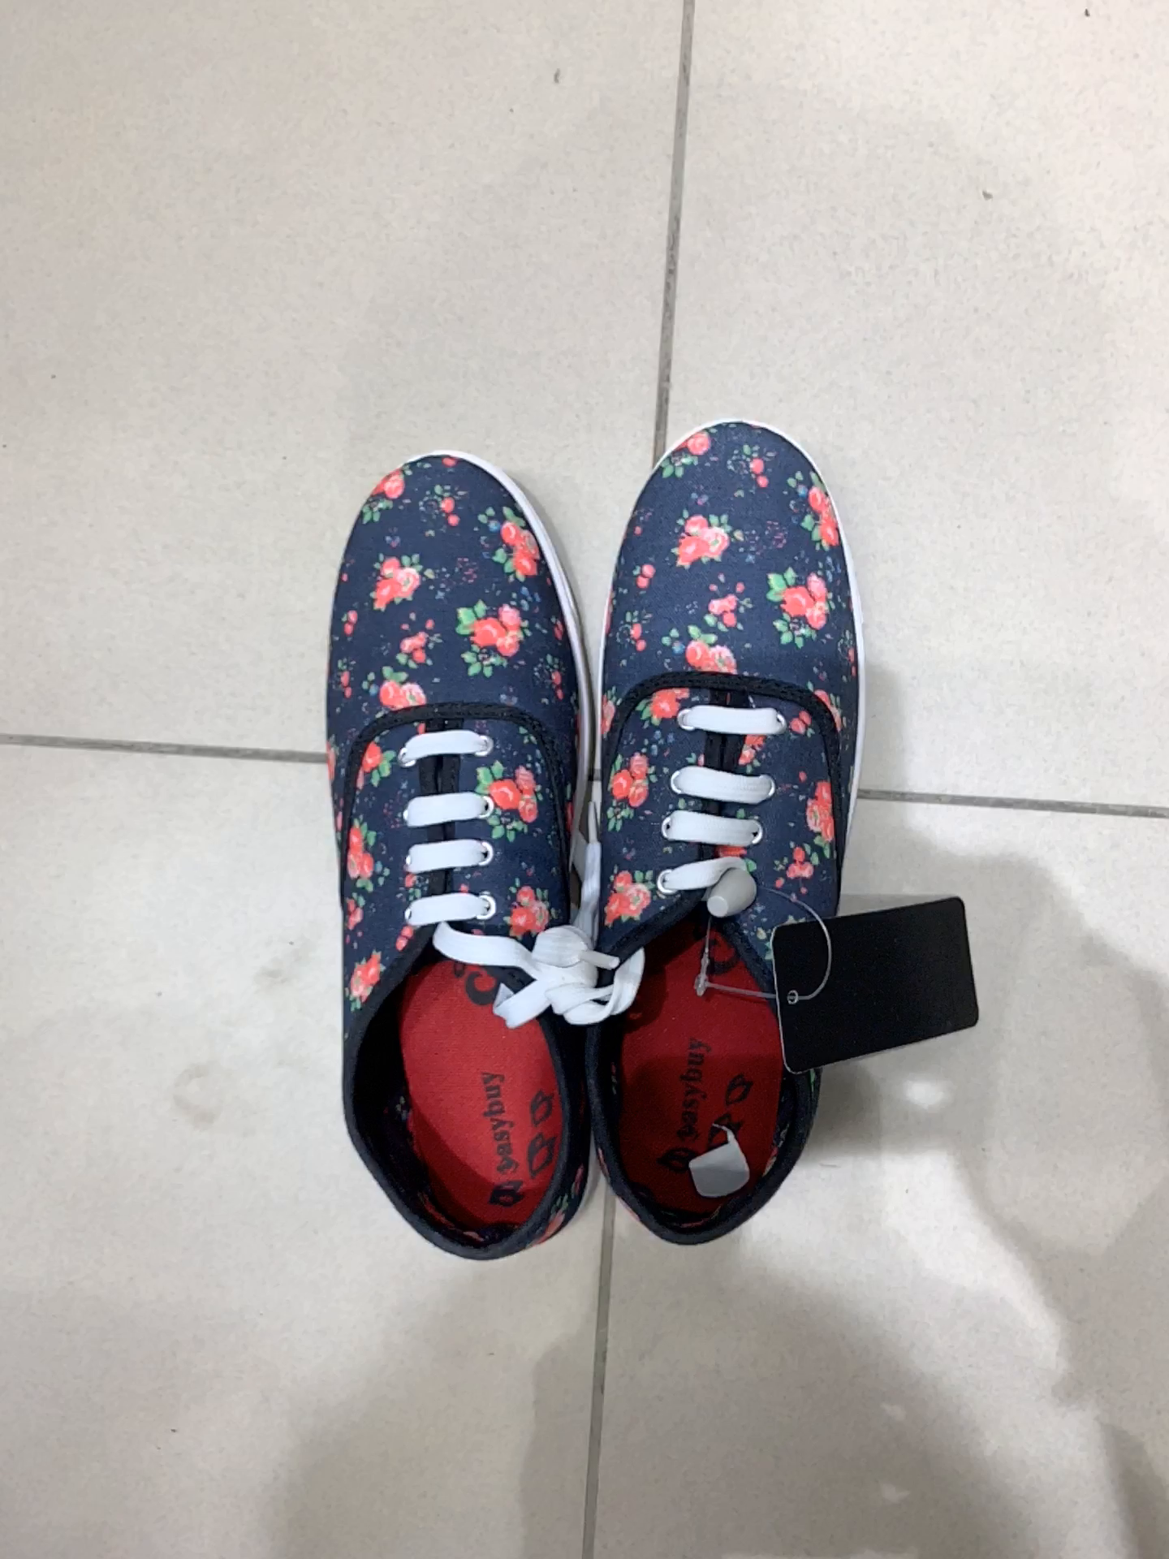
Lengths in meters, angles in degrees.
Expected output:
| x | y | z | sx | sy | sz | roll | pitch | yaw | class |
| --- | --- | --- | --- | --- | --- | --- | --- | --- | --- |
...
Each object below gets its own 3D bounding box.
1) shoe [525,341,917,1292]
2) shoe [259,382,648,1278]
| x | y | z | sx | sy | sz | roll | pitch | yaw | class |
| --- | --- | --- | --- | --- | --- | --- | --- | --- | --- |
| 0.044 | 0.008 | 0.388 | 0.100 | 0.080 | 0.270 | 3 | 87 | 7 | shoe |
| -0.041 | 0.017 | 0.412 | 0.100 | 0.080 | 0.270 | -4 | 87 | 7 | shoe |
